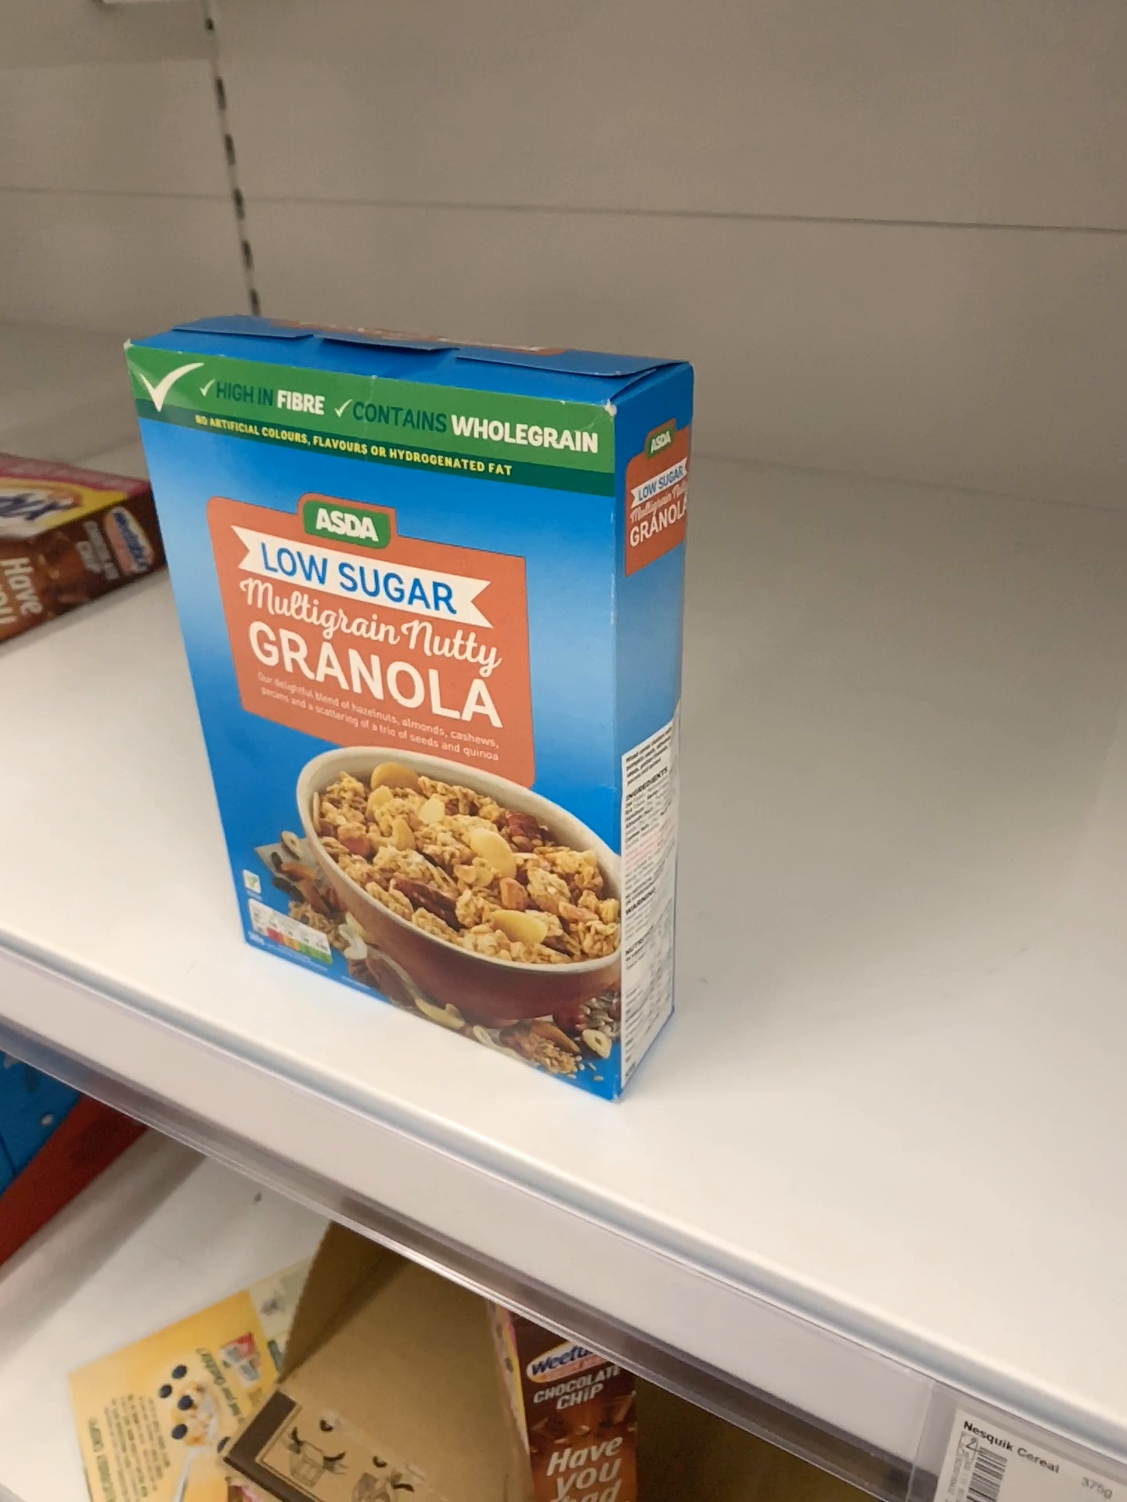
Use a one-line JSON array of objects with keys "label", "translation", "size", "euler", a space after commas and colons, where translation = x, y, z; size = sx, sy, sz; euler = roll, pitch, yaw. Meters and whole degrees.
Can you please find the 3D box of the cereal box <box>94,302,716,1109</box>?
[{"label": "cereal box", "translation": [-0.050, -0.017, 0.415], "size": [0.190, 0.248, 0.060], "euler": [16, 35, 27]}]
